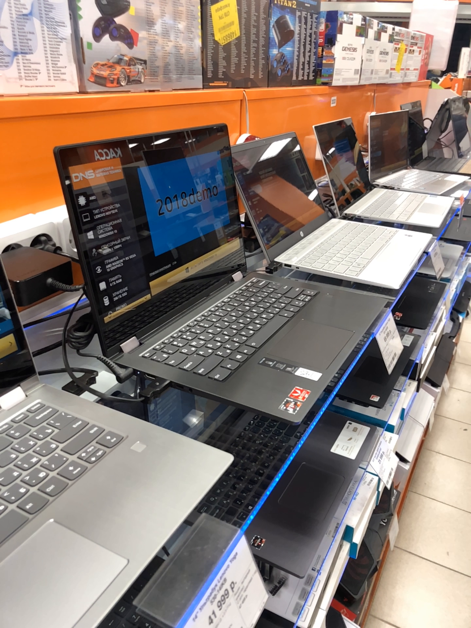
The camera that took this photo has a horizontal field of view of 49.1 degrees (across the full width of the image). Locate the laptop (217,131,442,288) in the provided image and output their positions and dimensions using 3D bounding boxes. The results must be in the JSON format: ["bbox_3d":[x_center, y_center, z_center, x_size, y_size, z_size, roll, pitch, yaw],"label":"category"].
[{"bbox_3d":[0.176,-0.213,0.932,0.310,0.161,0.317,16,29,24],"label":"laptop"}]

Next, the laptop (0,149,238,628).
[{"bbox_3d":[-0.190,0.035,0.296,0.285,0.202,0.285,14,25,20],"label":"laptop"}]

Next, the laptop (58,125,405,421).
[{"bbox_3d":[0.019,-0.088,0.601,0.255,0.215,0.321,14,27,24],"label":"laptop"}]
